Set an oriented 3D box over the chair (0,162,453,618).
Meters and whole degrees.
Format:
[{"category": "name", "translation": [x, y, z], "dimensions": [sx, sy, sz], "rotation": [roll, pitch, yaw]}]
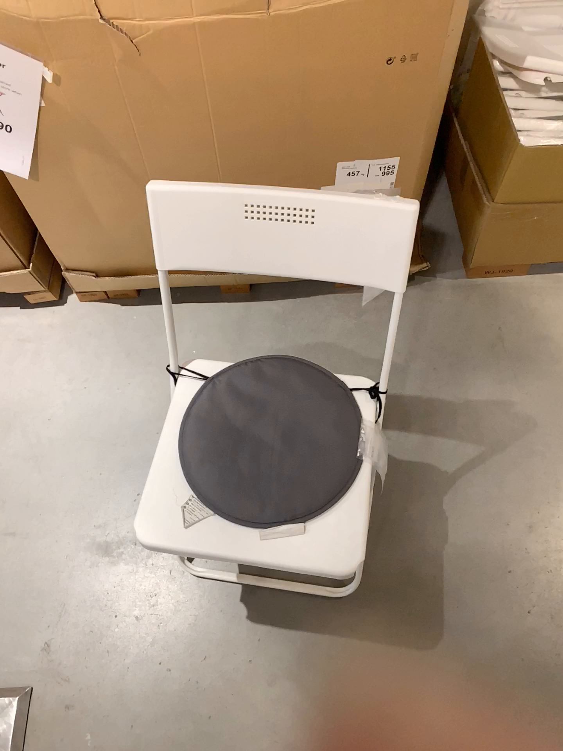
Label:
[{"category": "chair", "translation": [-0.024, 0.097, 1.035], "dimensions": [0.490, 0.739, 0.480], "rotation": [7, 61, 7]}]
